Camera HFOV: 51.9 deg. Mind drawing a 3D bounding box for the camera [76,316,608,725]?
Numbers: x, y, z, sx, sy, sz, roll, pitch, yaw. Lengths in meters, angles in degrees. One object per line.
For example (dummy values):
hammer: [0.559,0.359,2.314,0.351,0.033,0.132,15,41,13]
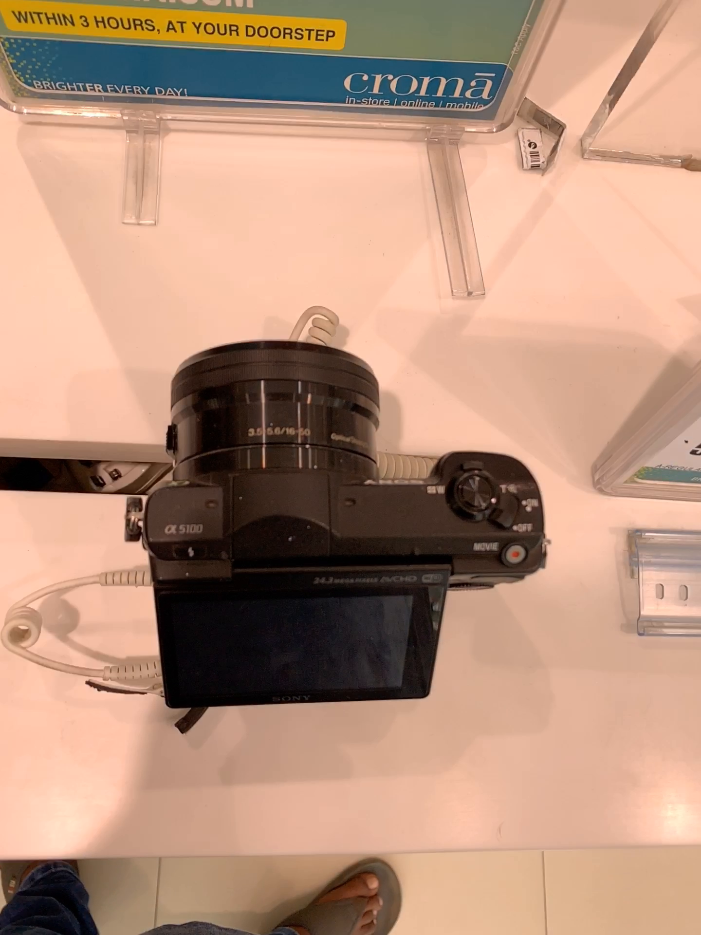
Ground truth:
camera: [-0.006,0.018,0.199,0.110,0.082,0.088,0,75,-7]
